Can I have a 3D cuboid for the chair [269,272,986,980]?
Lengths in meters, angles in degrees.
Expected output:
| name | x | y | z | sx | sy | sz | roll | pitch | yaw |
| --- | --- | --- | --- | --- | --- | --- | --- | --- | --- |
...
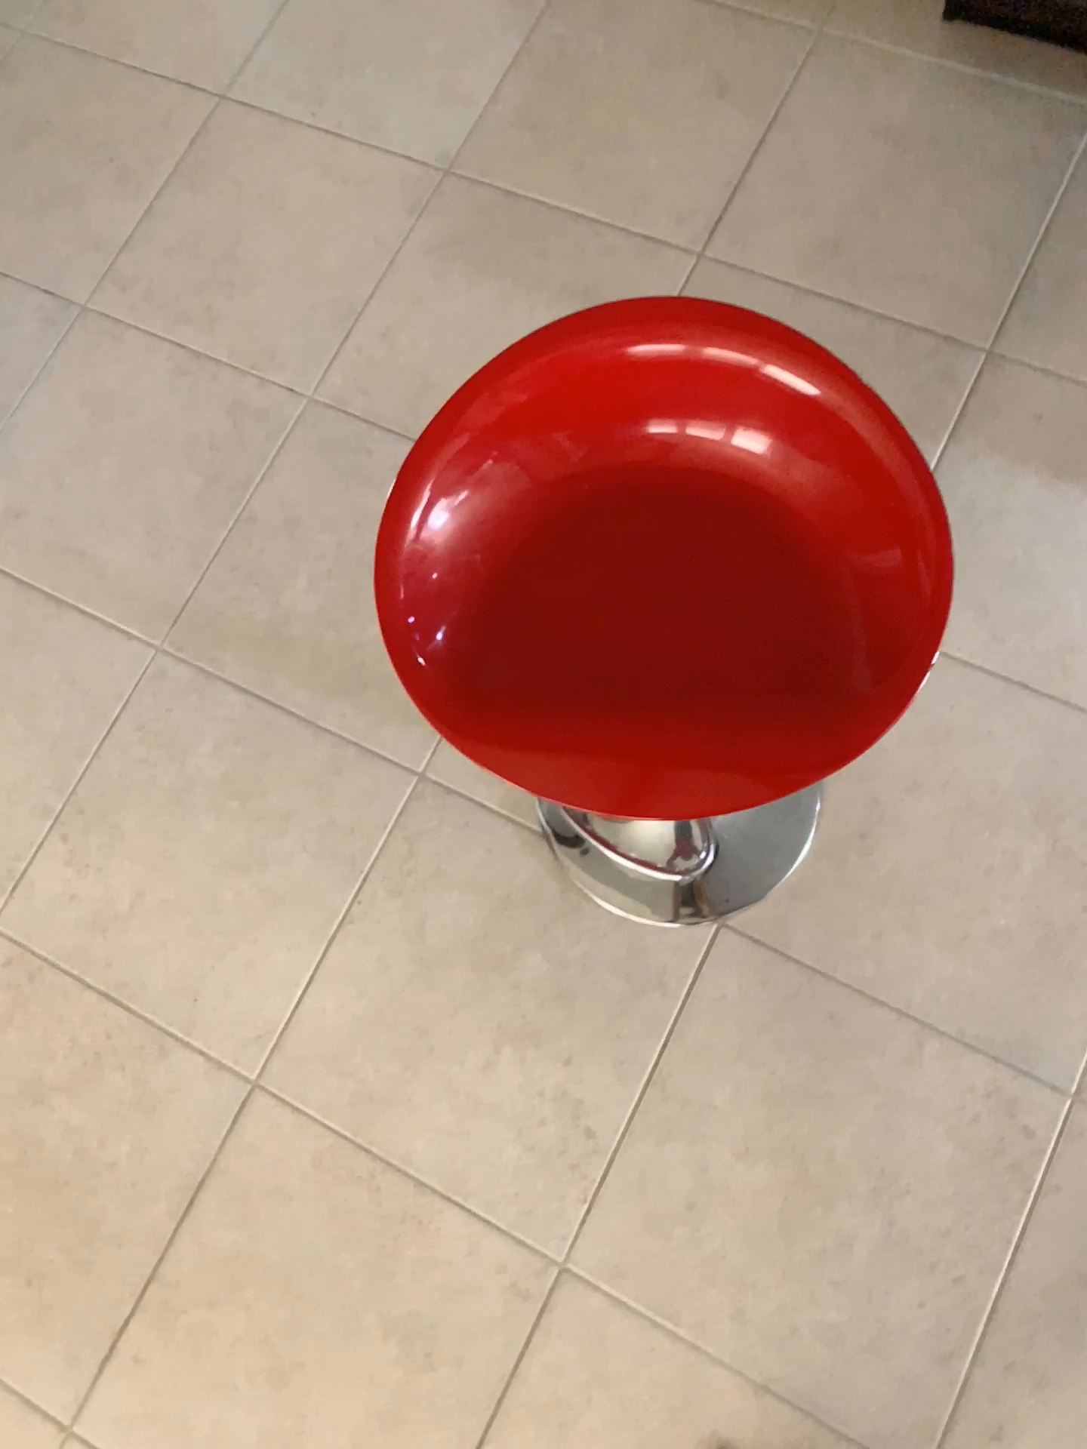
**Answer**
| name | x | y | z | sx | sy | sz | roll | pitch | yaw |
| --- | --- | --- | --- | --- | --- | --- | --- | --- | --- |
| chair | 0.115 | -0.017 | 1.107 | 0.437 | 0.731 | 0.432 | 6 | 75 | 10 |
